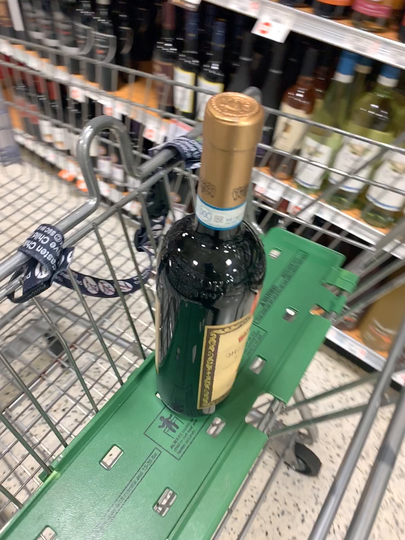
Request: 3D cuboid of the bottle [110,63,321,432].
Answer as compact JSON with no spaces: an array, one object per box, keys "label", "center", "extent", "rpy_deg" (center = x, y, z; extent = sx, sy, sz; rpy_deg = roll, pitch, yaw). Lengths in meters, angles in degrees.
[{"label":"bottle","center":[0.002,0.014,0.307],"extent":[0.080,0.277,0.081],"rpy_deg":[2,49,-3]}]
